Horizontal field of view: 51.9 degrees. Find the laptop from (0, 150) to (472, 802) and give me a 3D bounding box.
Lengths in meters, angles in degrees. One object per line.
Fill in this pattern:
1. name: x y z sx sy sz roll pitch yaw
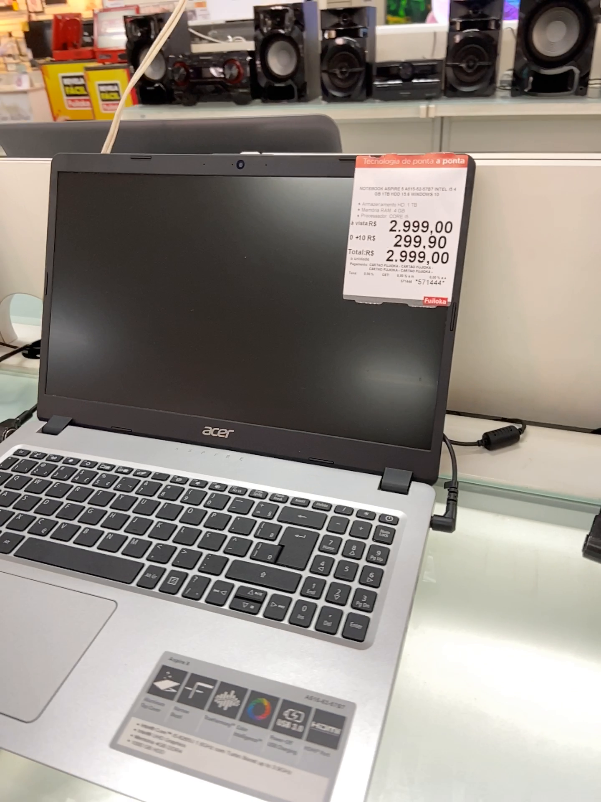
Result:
1. laptop: -0.103 -0.014 0.407 0.366 0.205 0.374 7 34 18
